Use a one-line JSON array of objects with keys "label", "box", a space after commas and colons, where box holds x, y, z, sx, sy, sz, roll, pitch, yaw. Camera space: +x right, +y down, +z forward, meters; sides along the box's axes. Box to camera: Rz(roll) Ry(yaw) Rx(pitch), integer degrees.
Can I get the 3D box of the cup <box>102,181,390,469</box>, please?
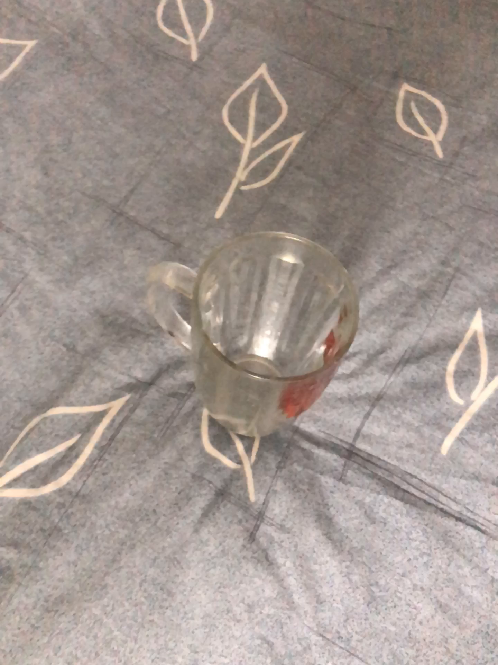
[{"label": "cup", "box": [-0.001, 0.003, 0.362, 0.127, 0.136, 0.091, 29, 69, 12]}]
